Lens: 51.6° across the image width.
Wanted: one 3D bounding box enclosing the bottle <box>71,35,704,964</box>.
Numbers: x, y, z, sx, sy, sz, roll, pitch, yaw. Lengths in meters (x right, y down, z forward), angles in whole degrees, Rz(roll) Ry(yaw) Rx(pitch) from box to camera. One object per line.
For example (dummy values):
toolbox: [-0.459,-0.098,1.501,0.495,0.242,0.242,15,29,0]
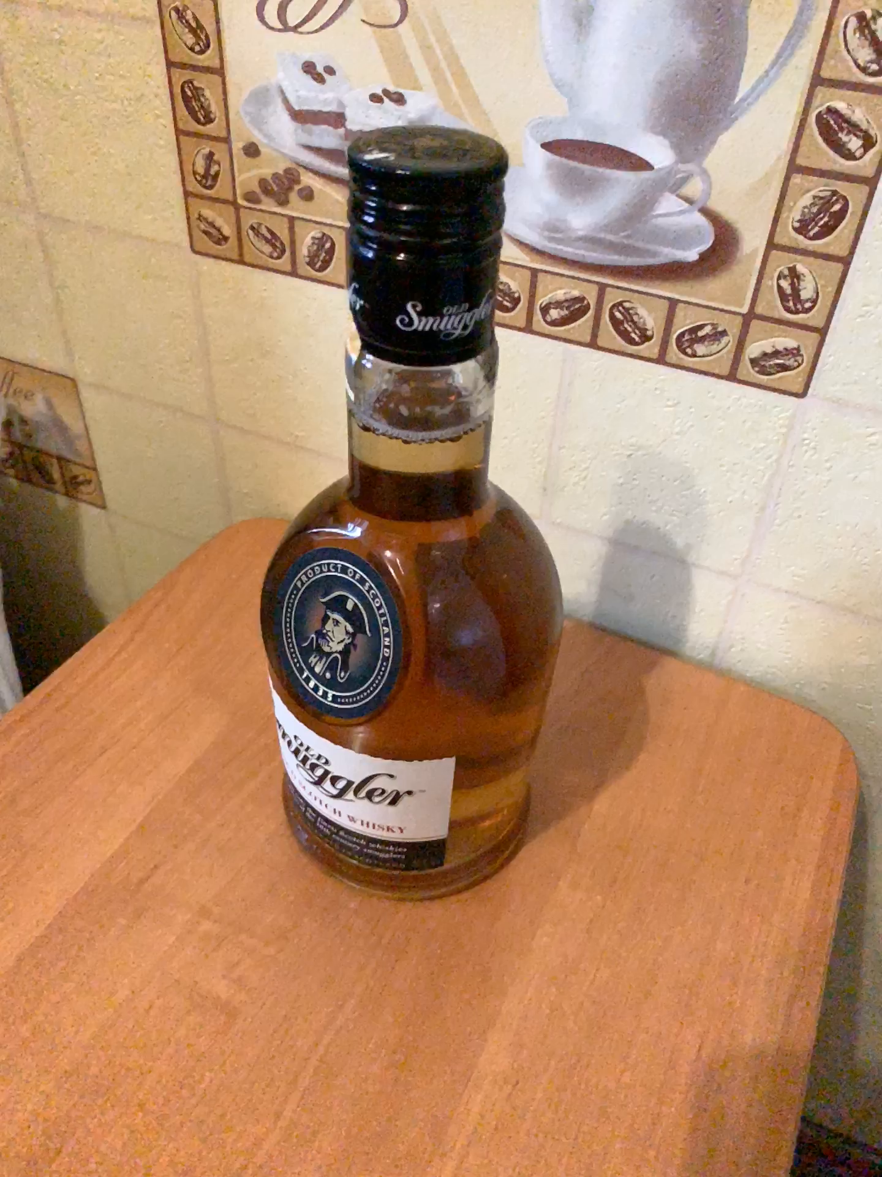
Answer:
bottle: [-0.016,-0.012,0.258,0.100,0.229,0.080,31,47,29]
